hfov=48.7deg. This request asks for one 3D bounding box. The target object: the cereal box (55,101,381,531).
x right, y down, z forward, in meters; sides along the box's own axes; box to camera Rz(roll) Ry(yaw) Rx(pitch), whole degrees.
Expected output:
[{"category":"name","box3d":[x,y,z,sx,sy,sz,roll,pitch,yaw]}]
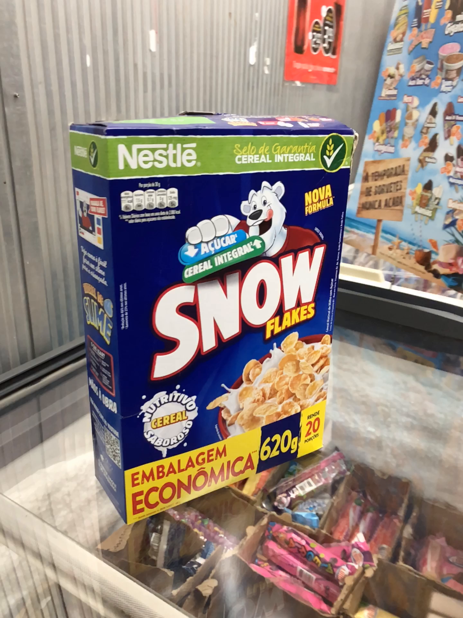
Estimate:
[{"category":"cereal box","box3d":[-0.005,-0.003,0.425,0.231,0.308,0.070,-12,26,-30]}]
